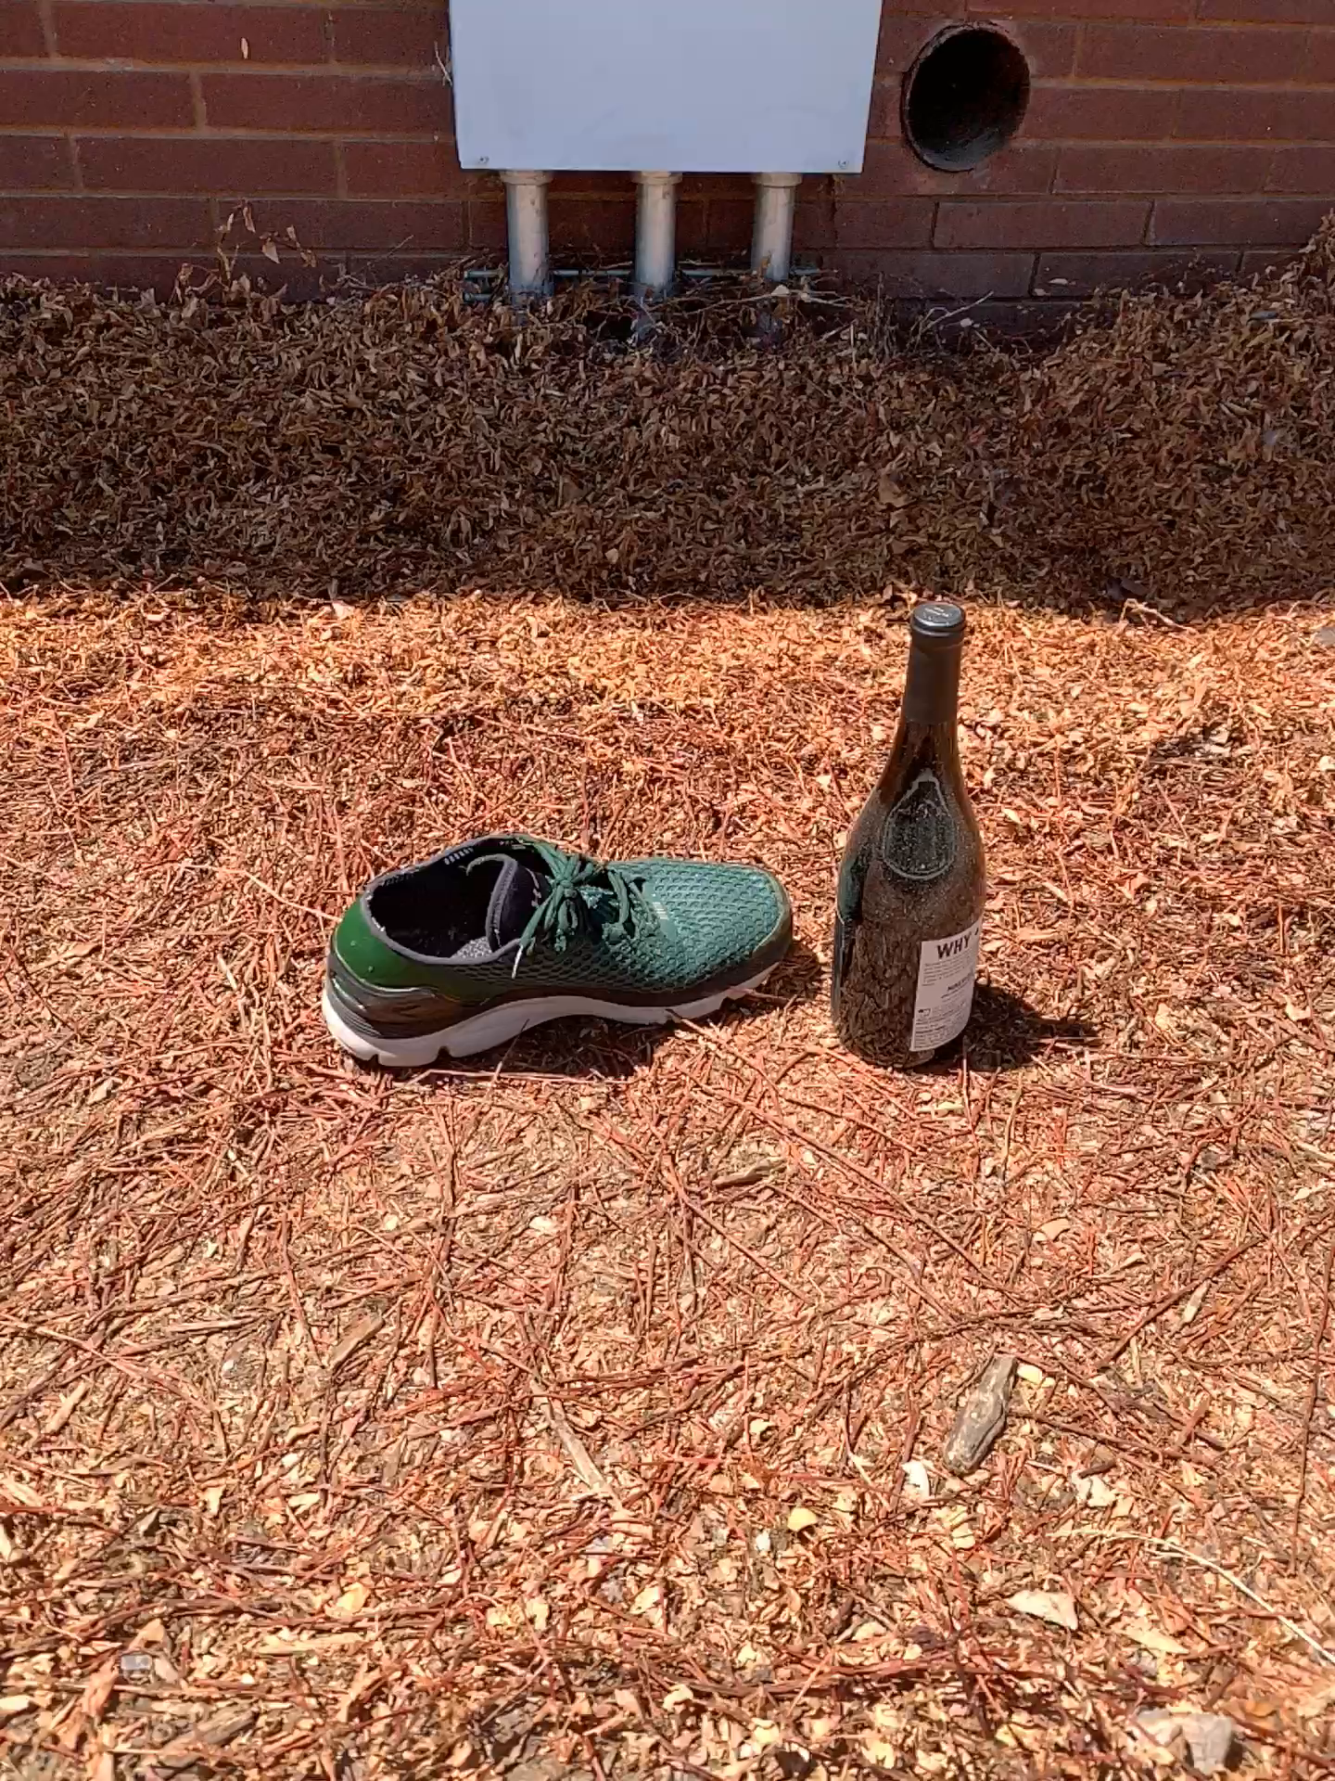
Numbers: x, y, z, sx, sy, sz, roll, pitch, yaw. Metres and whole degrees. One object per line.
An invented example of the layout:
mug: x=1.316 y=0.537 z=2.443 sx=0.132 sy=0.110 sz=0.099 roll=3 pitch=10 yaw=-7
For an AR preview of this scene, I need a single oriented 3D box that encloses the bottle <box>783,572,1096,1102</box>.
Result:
bottle: x=0.143 y=-0.023 z=0.762 sx=0.090 sy=0.268 sz=0.100 roll=29 pitch=46 yaw=27
